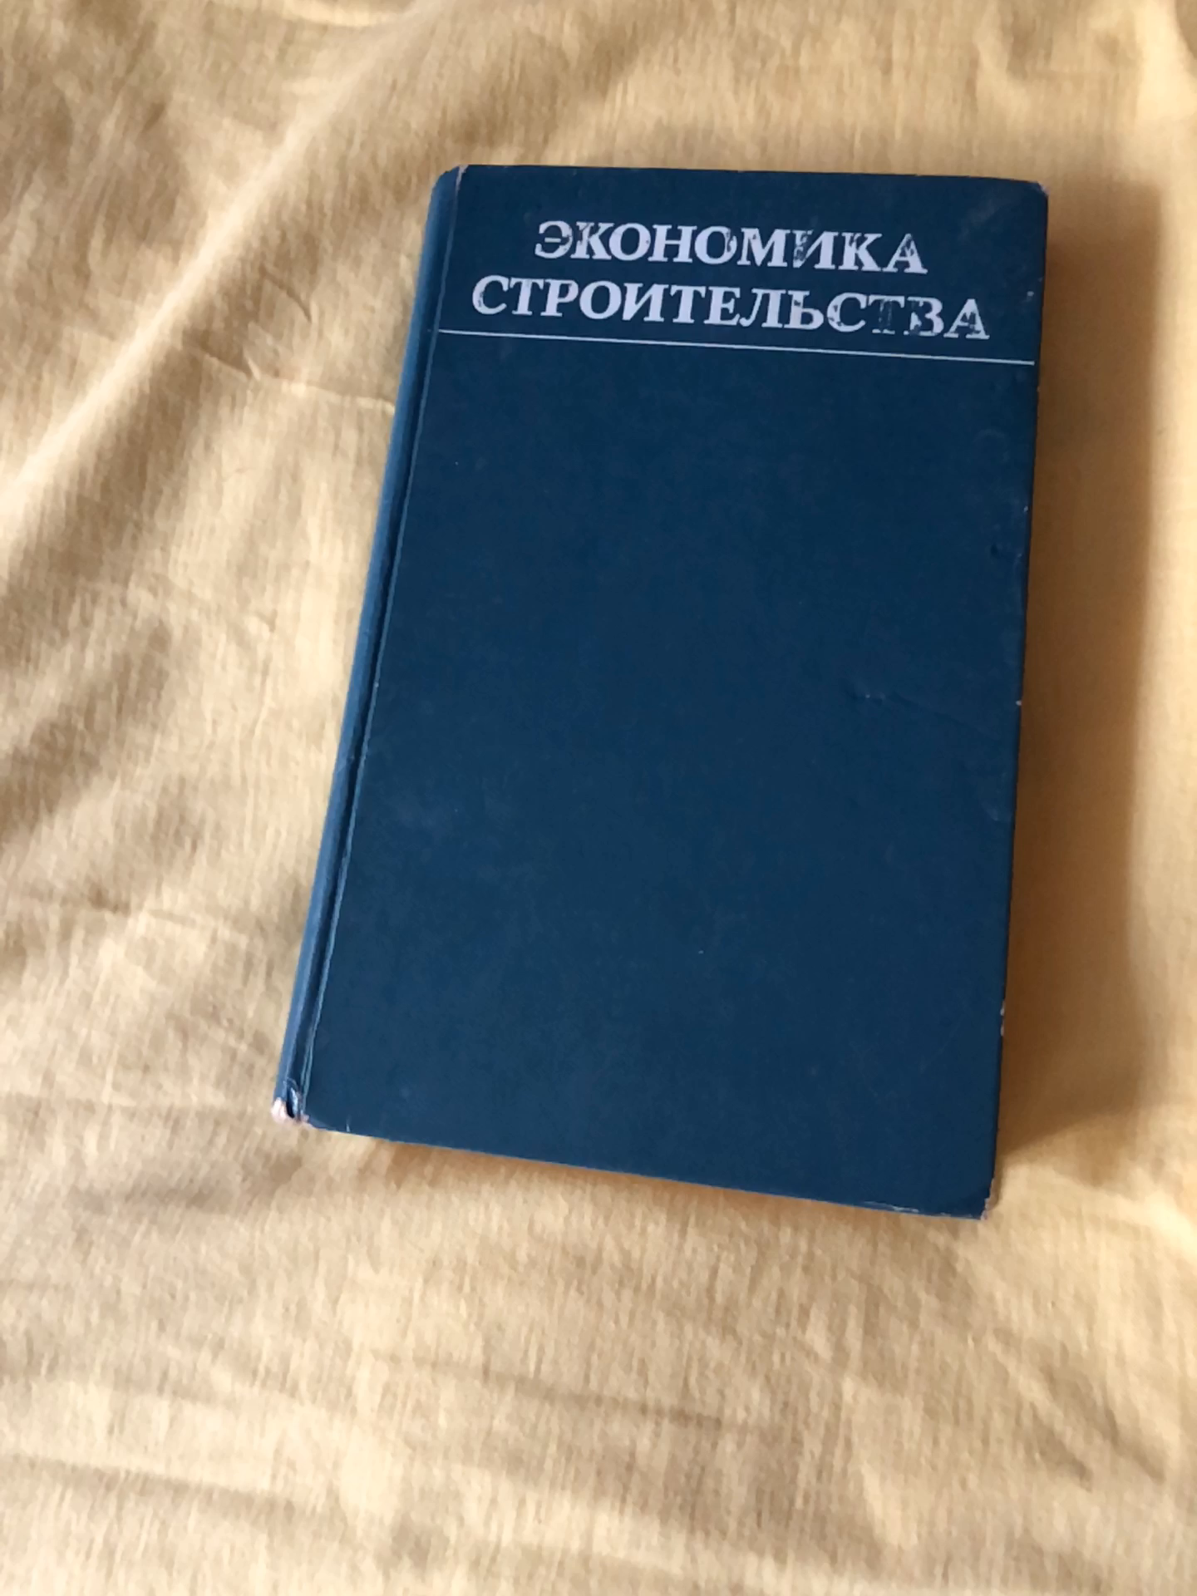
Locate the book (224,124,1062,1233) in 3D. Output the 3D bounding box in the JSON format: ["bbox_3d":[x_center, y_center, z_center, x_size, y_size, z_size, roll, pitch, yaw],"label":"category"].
[{"bbox_3d":[0.014,-0.031,0.255,0.130,0.030,0.200,5,77,8],"label":"book"}]
